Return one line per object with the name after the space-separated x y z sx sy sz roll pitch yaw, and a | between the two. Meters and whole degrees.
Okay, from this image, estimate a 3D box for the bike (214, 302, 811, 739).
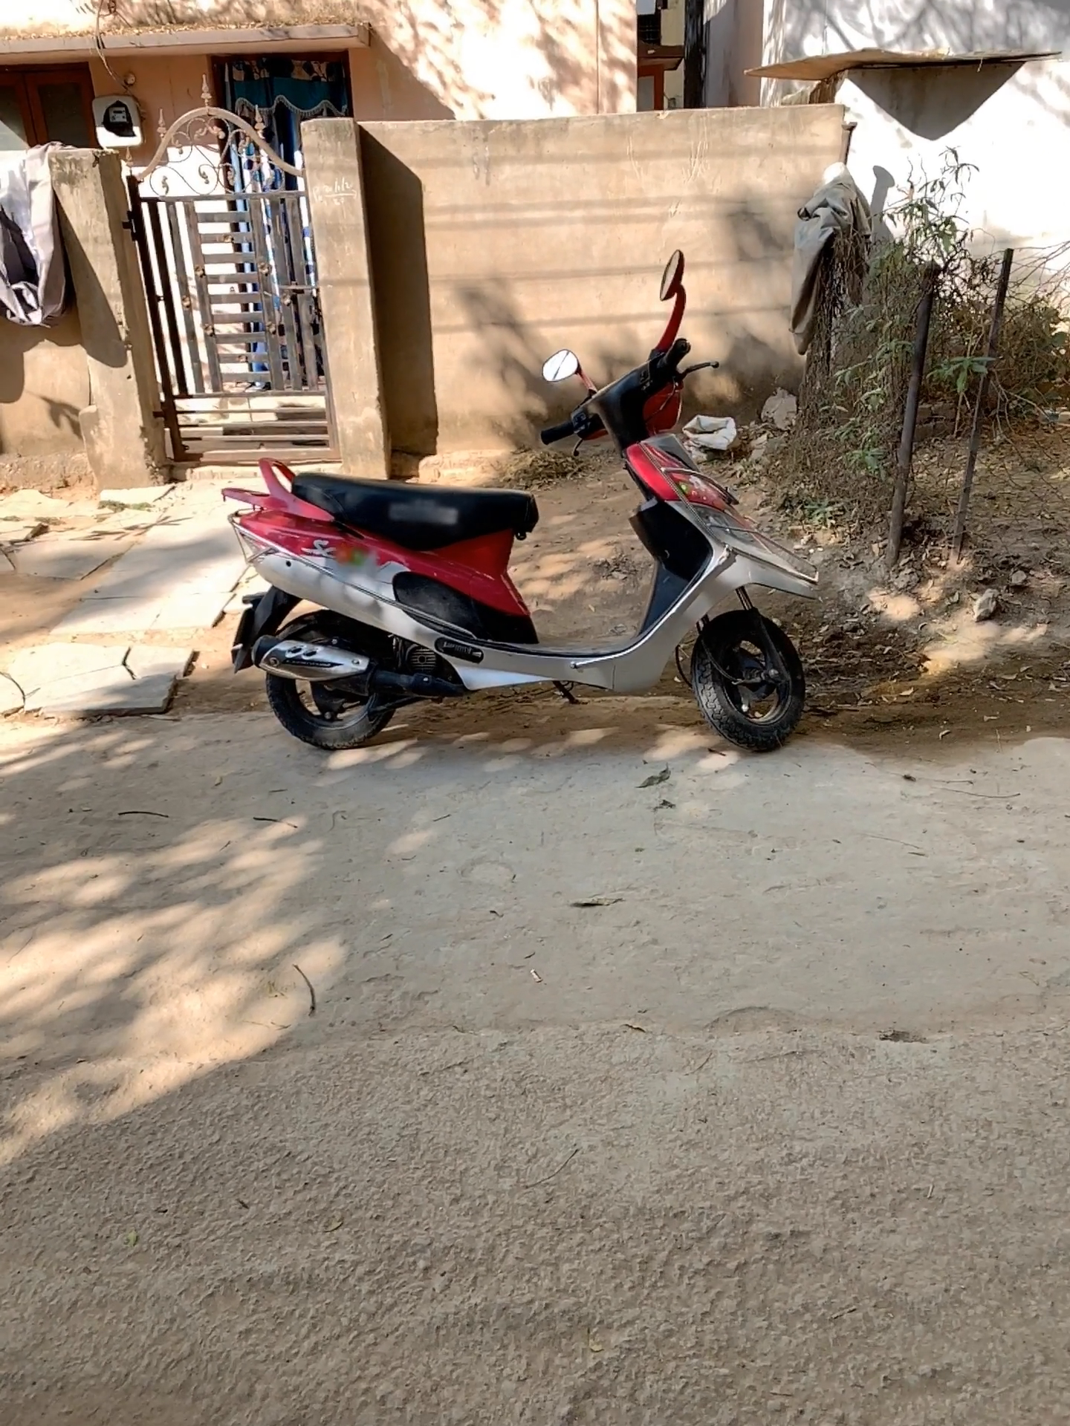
-0.014 -0.557 3.165 1.494 1.037 0.486 -4 25 1 | bike
